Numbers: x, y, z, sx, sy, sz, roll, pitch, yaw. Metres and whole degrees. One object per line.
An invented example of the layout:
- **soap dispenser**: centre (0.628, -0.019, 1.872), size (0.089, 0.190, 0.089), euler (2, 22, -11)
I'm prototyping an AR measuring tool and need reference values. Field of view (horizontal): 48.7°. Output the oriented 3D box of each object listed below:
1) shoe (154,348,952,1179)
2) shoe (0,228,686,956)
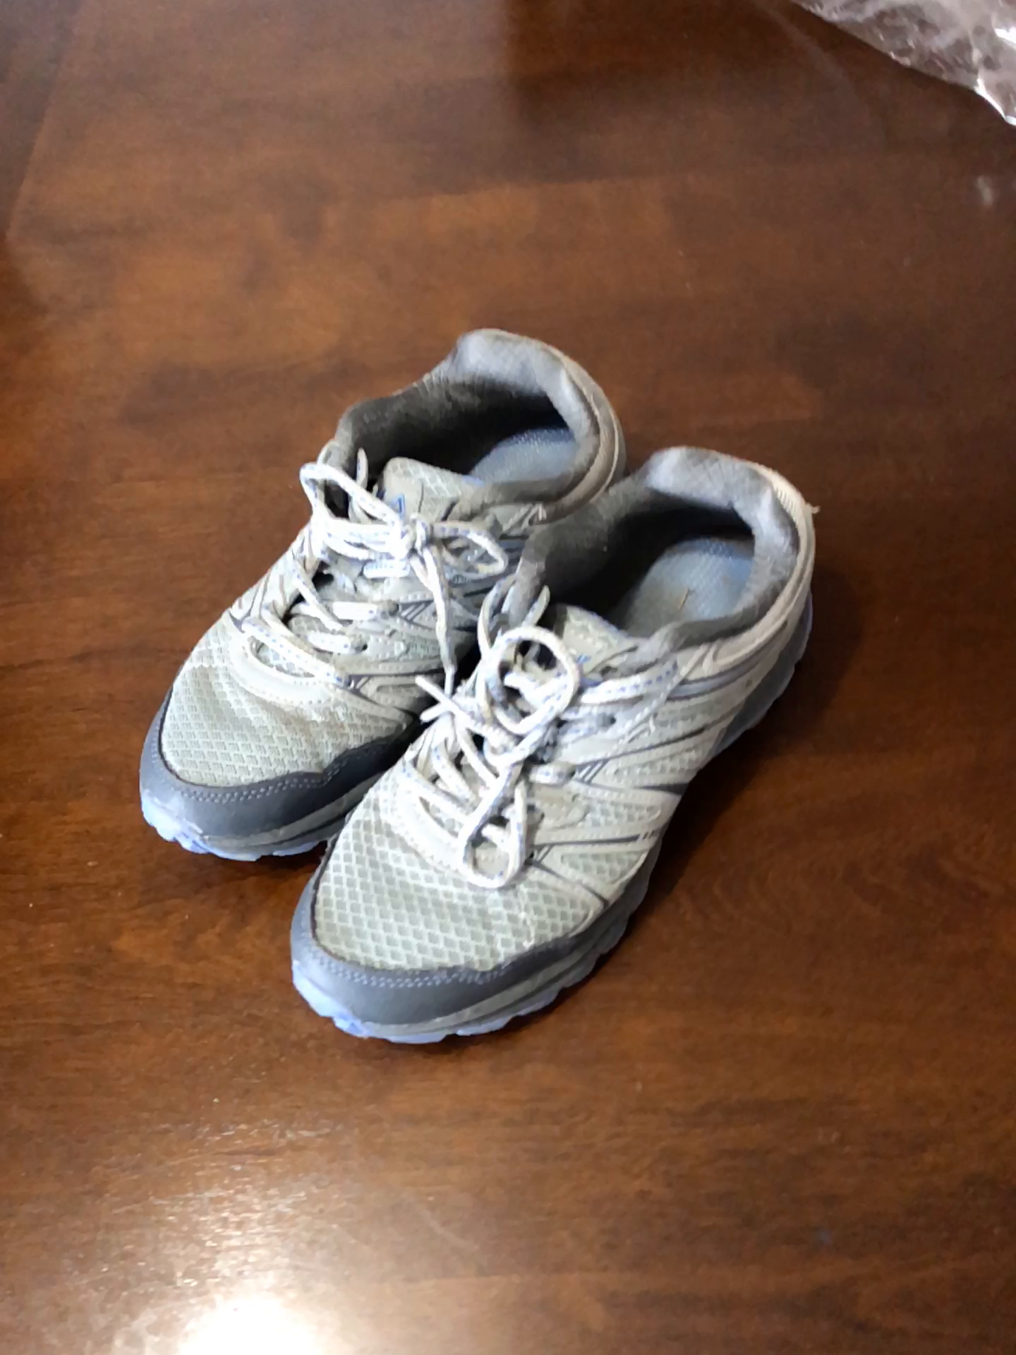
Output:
- **shoe**: centre (0.027, 0.019, 0.391), size (0.110, 0.100, 0.260), euler (33, 66, 23)
- **shoe**: centre (-0.053, -0.041, 0.424), size (0.110, 0.100, 0.250), euler (33, 66, 23)
